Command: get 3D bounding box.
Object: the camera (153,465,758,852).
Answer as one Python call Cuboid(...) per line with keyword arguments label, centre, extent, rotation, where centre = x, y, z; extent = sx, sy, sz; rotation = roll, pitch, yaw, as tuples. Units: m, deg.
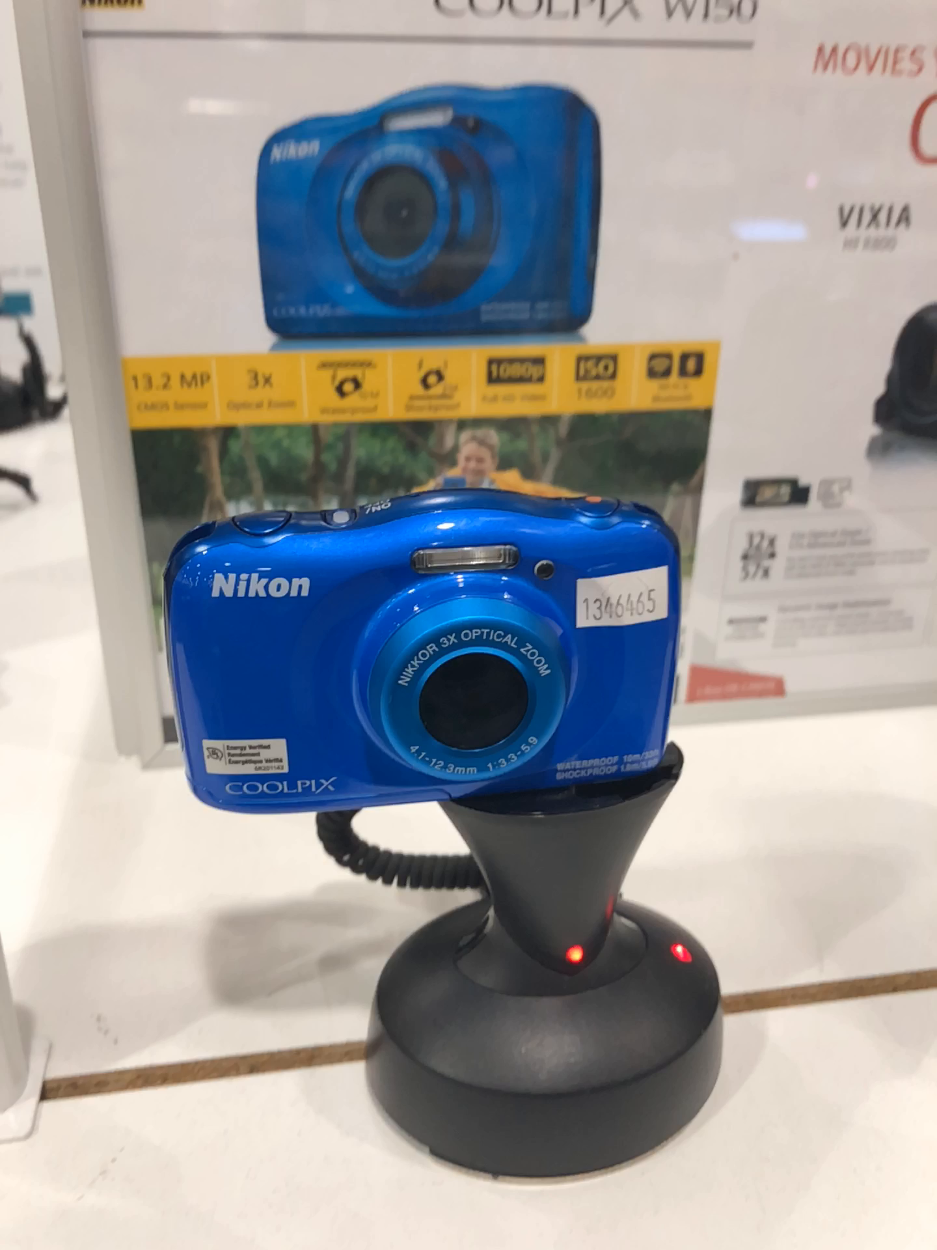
Cuboid(label="camera", centre=(-0.004, 0.004, 0.218), extent=(0.110, 0.060, 0.040), rotation=(-4, 25, -12))
